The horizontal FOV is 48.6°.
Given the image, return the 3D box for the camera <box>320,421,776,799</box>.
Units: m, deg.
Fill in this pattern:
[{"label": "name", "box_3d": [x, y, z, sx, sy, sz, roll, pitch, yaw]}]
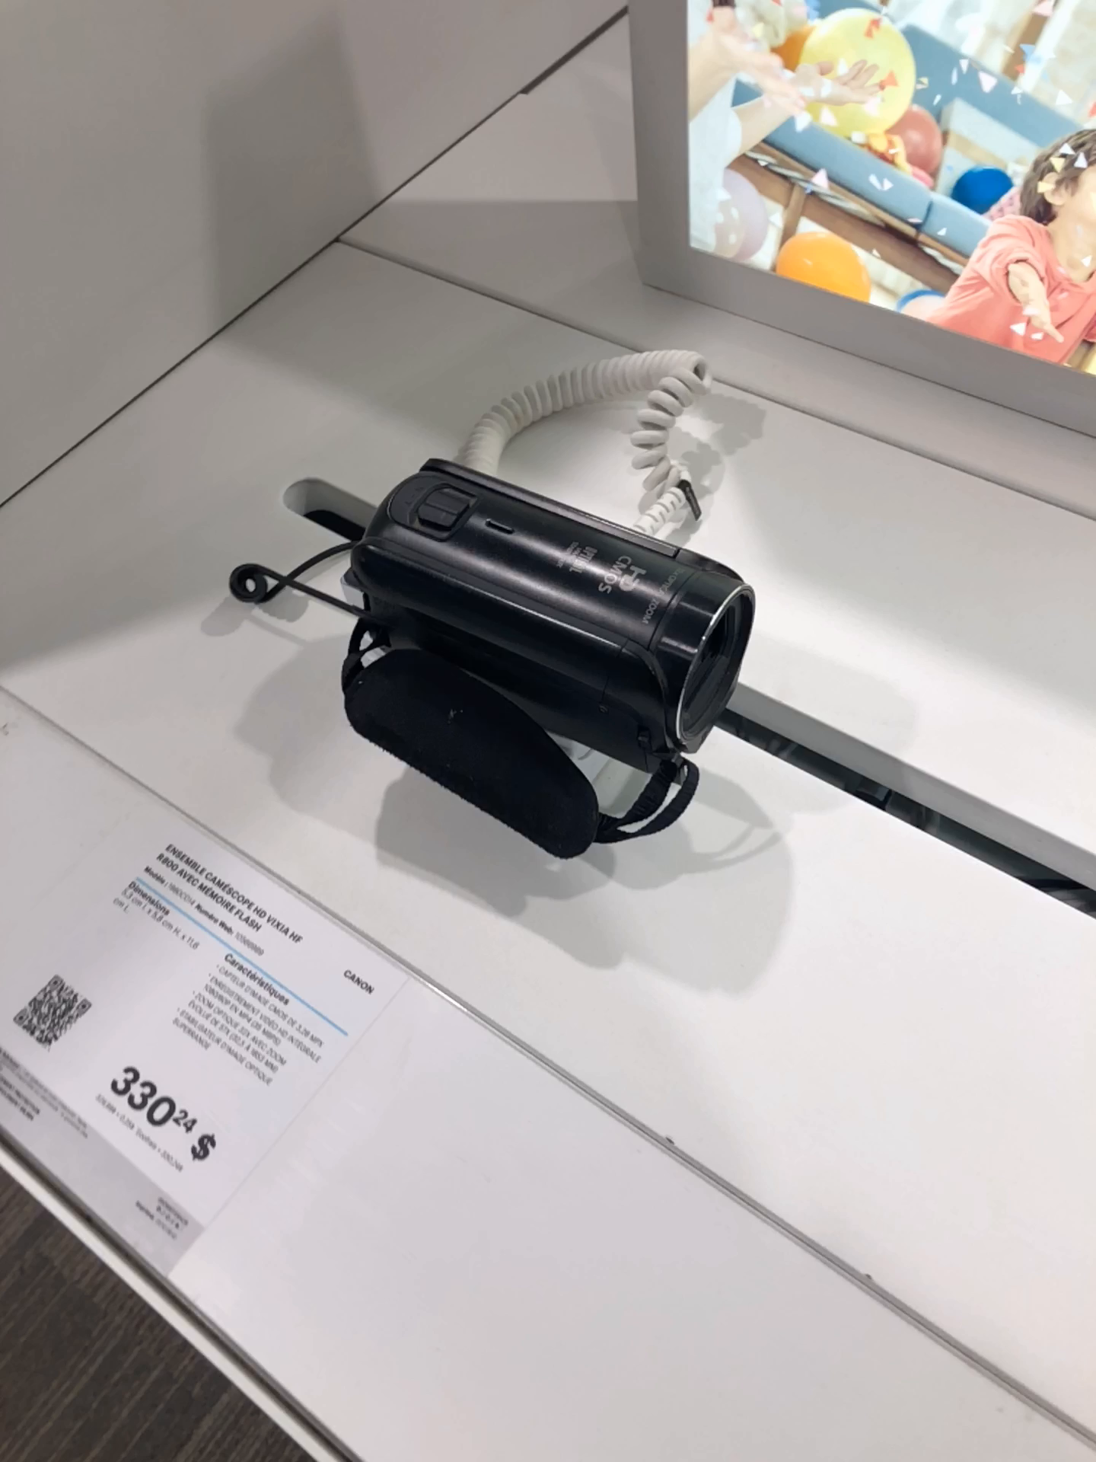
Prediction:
[{"label": "camera", "box_3d": [0.000, -0.036, 0.342, 0.113, 0.050, 0.050, 25, 61, 23]}]
